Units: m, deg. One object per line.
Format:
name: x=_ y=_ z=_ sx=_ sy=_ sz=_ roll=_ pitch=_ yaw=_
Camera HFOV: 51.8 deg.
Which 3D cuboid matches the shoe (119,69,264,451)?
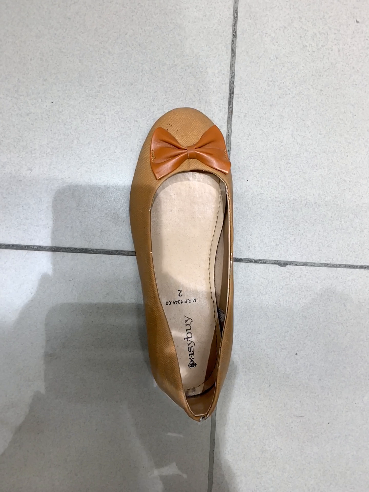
shoe: x=0.000 y=0.009 z=0.260 sx=0.080 sy=0.070 sz=0.220 roll=2 pitch=89 yaw=-9
